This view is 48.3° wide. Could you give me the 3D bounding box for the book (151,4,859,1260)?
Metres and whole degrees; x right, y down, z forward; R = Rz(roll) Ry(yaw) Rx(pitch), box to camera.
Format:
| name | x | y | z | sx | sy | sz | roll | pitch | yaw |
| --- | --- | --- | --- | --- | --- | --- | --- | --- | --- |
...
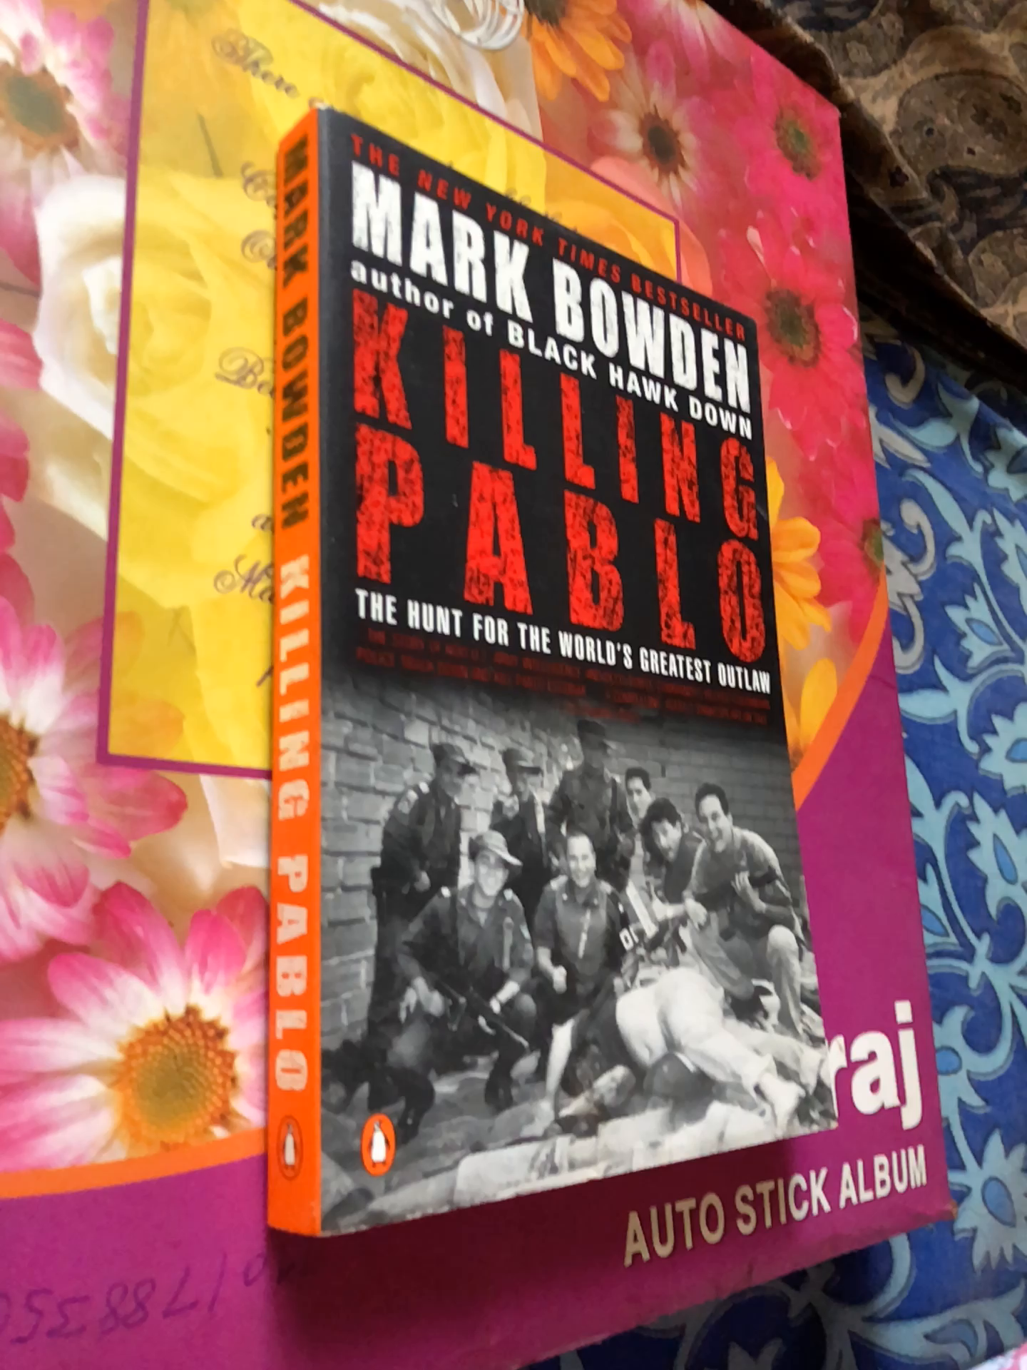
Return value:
| name | x | y | z | sx | sy | sz | roll | pitch | yaw |
| --- | --- | --- | --- | --- | --- | --- | --- | --- | --- |
| book | 0.001 | -0.014 | 0.255 | 0.151 | 0.030 | 0.230 | 7 | 72 | -36 |
